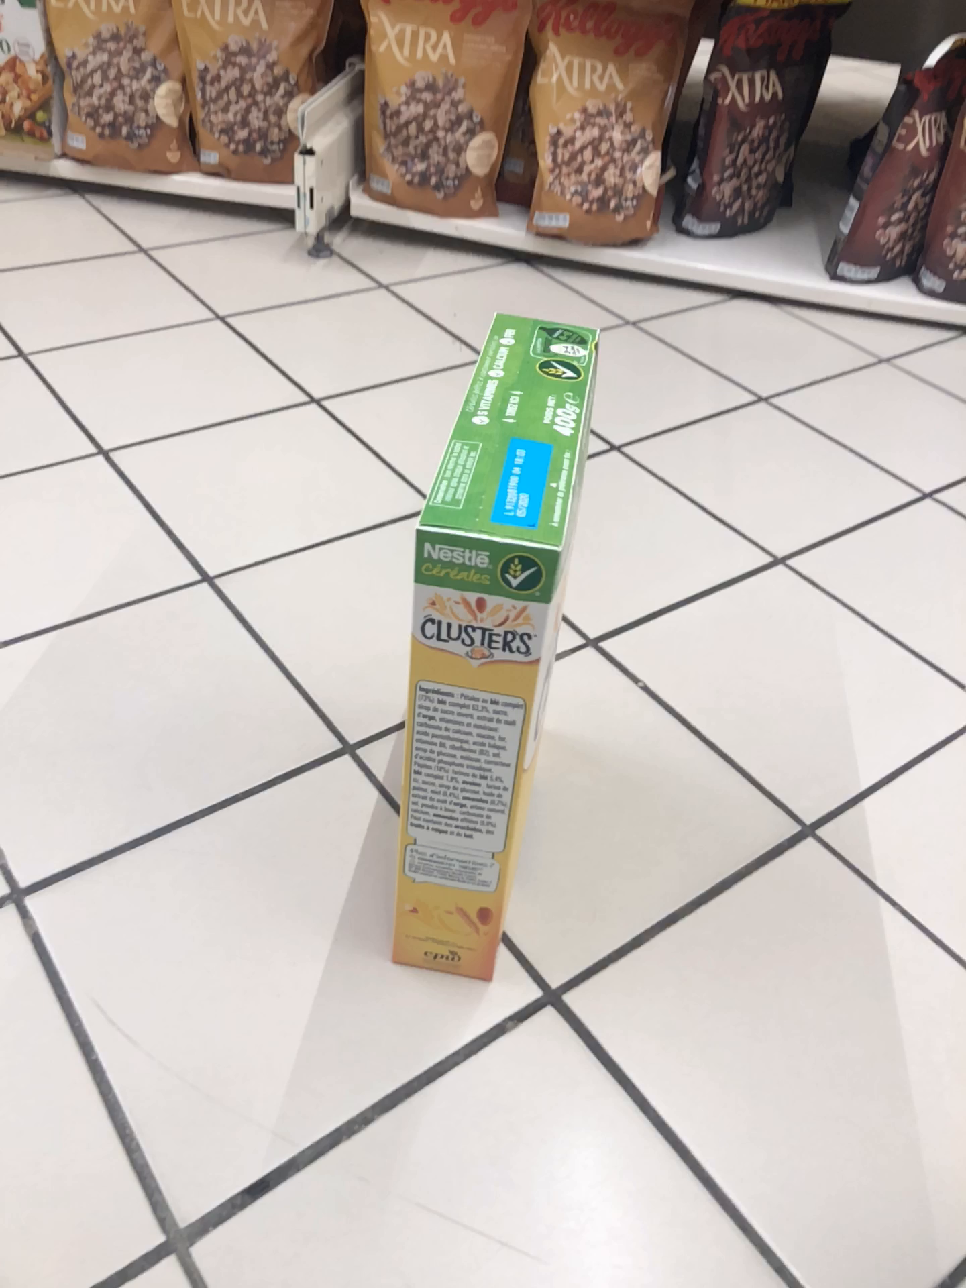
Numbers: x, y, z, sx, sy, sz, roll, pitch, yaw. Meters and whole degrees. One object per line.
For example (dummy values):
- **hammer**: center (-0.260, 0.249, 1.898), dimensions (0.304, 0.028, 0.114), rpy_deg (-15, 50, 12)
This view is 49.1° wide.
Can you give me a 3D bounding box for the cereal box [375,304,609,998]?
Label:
- **cereal box**: center (0.004, 0.004, 0.529), dimensions (0.060, 0.268, 0.211), rpy_deg (10, 39, 4)
